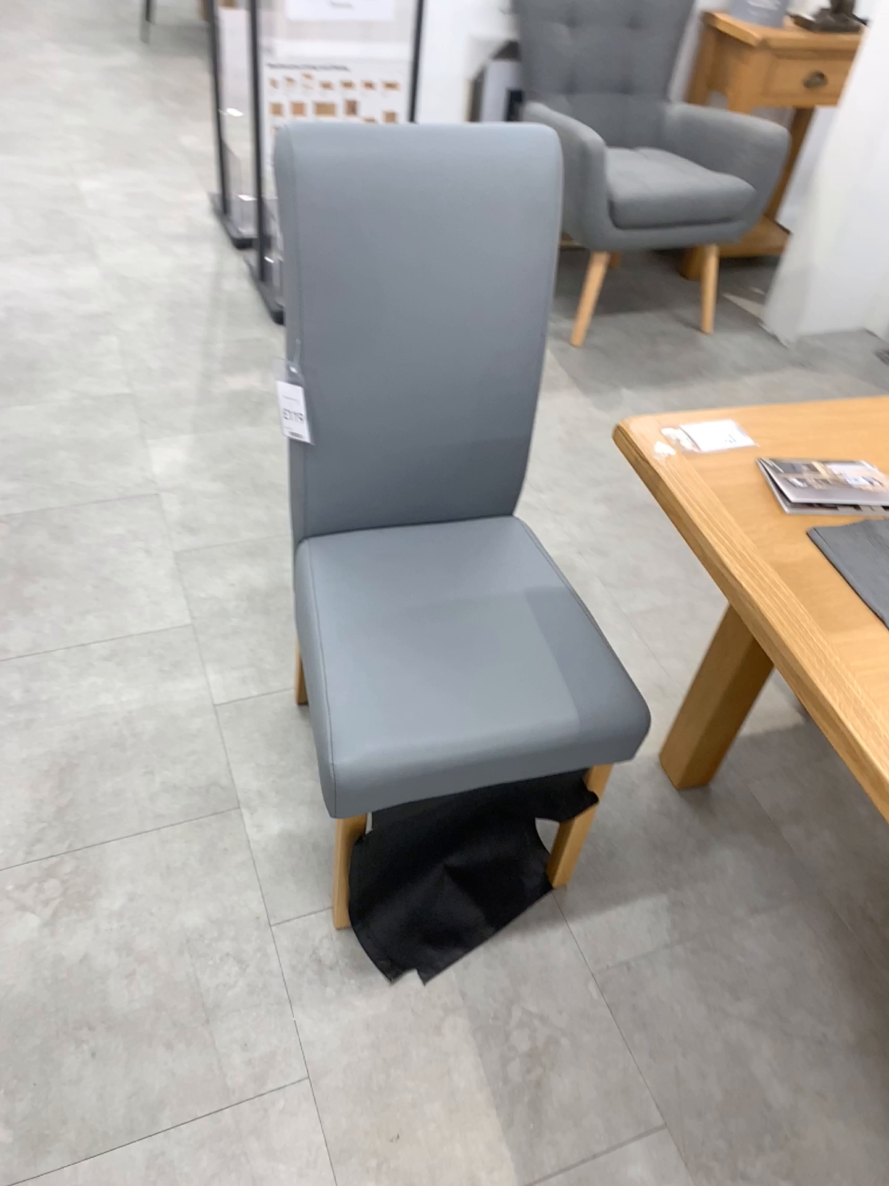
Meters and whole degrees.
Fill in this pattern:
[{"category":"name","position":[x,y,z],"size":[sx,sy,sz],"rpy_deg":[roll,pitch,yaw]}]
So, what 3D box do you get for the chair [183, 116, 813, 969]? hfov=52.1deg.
[{"category":"chair","position":[-0.046,-0.056,1.254],"size":[0.473,0.906,0.660],"rpy_deg":[-7,45,-16]}]
